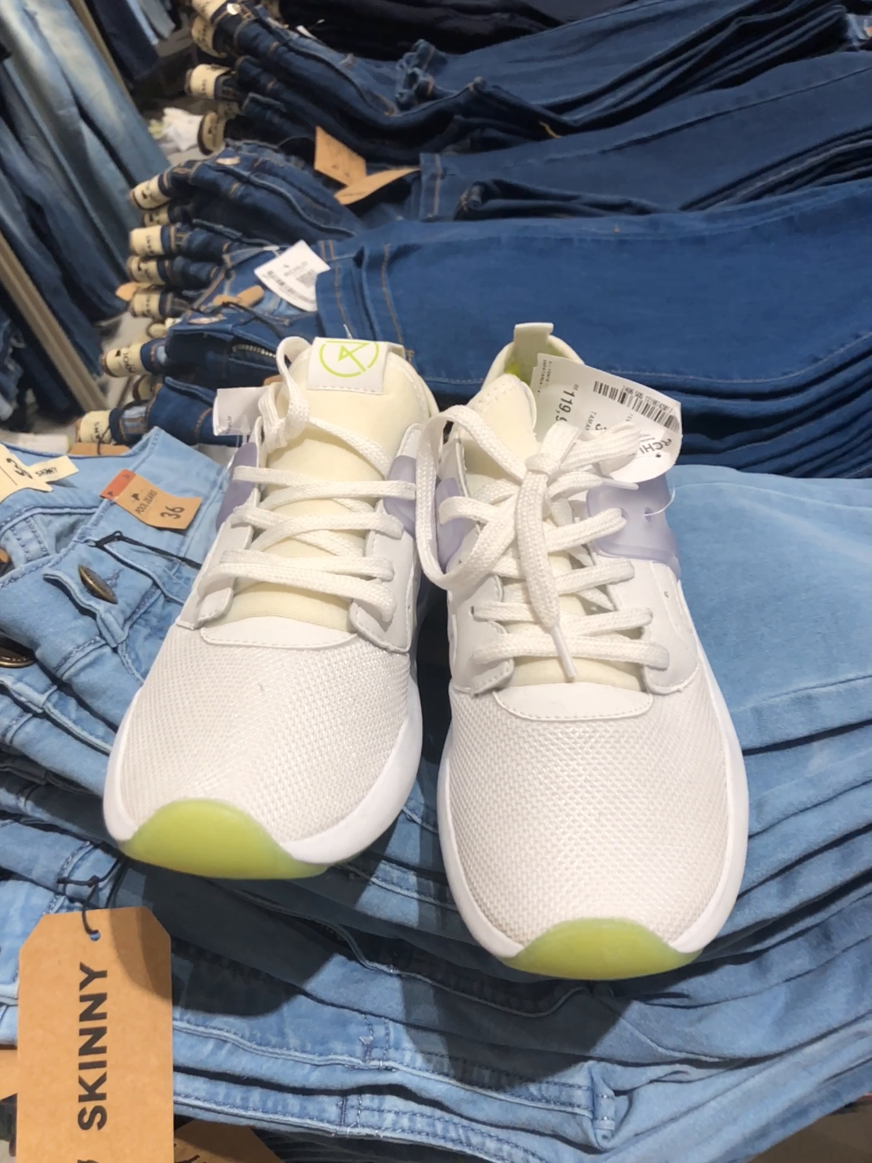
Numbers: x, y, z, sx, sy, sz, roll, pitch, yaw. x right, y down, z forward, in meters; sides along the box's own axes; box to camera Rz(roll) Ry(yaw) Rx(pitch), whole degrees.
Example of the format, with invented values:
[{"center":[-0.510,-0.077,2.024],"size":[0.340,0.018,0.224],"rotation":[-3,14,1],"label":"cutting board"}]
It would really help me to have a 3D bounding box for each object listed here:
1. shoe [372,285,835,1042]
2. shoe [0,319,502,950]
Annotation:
[{"center":[0.045,0.007,0.331],"size":[0.100,0.089,0.252],"rotation":[-8,43,8],"label":"shoe"},{"center":[-0.045,-0.013,0.359],"size":[0.110,0.119,0.261],"rotation":[6,24,6],"label":"shoe"}]
